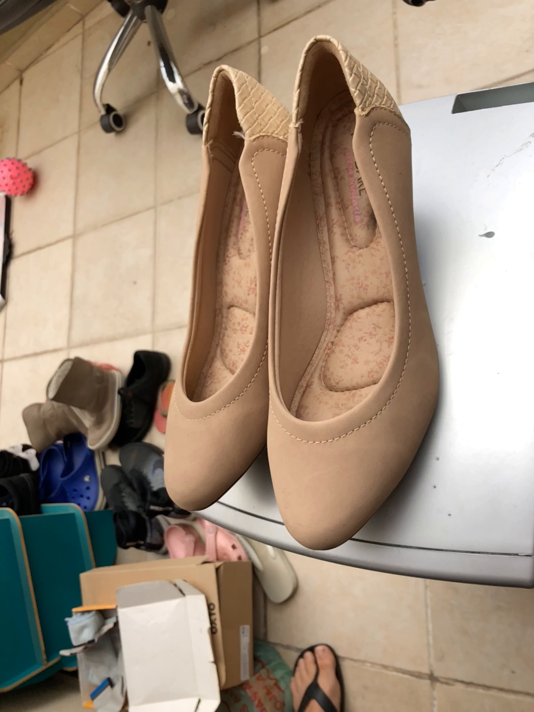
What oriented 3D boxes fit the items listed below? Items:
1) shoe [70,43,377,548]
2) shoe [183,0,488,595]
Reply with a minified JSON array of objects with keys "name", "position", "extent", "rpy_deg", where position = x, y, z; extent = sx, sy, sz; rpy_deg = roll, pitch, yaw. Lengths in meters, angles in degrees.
[{"name":"shoe","position":[-0.020,-0.028,0.355],"extent":[0.091,0.119,0.244],"rpy_deg":[7,87,37]},{"name":"shoe","position":[0.044,-0.025,0.307],"extent":[0.091,0.119,0.244],"rpy_deg":[1,83,37]}]
